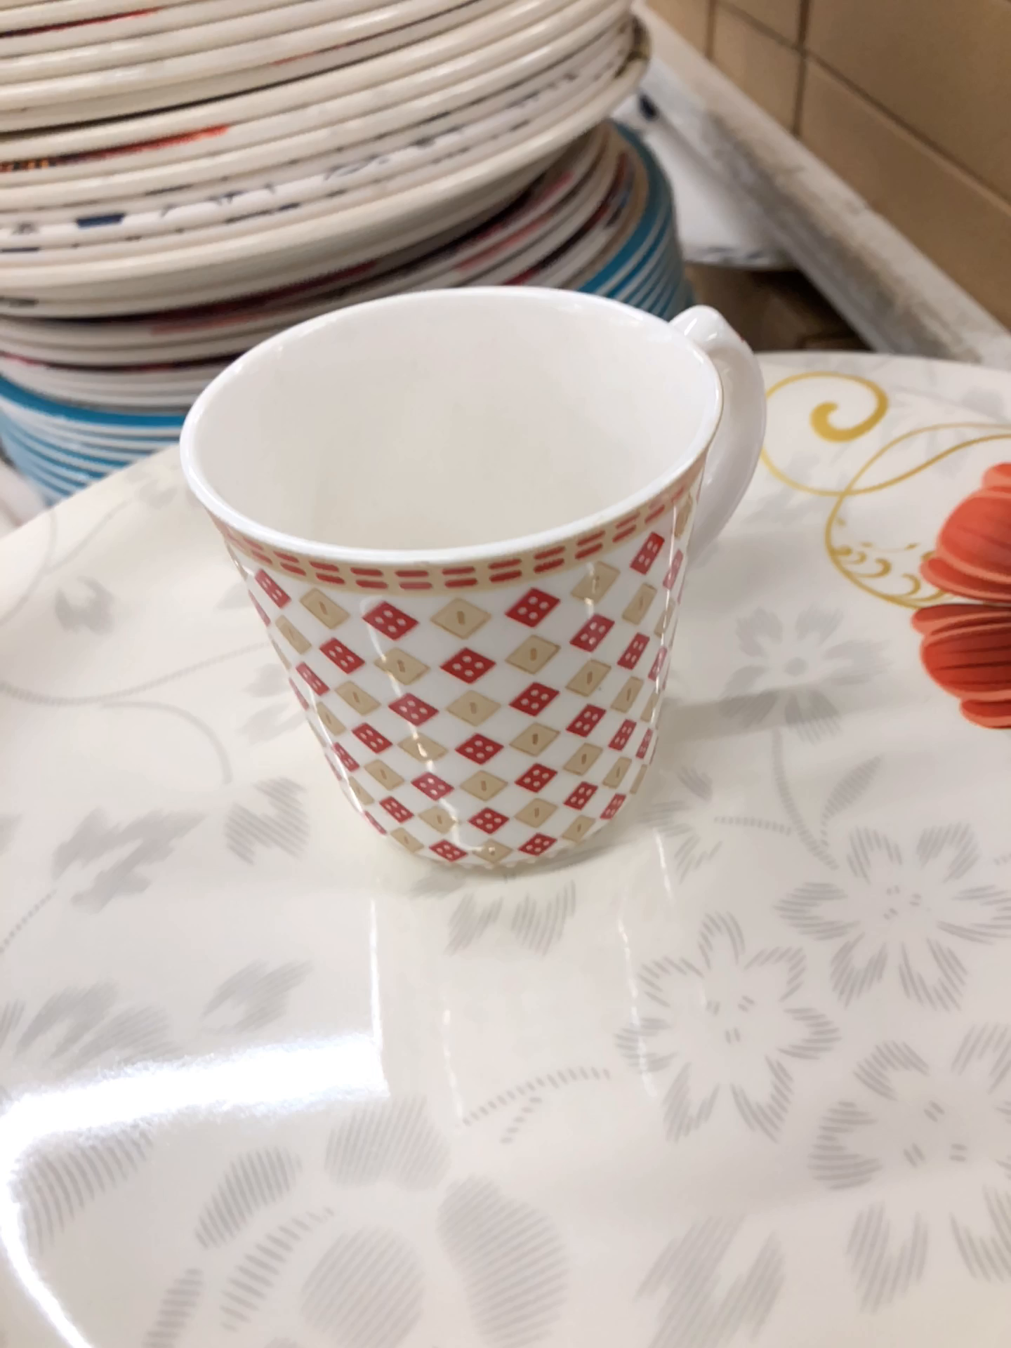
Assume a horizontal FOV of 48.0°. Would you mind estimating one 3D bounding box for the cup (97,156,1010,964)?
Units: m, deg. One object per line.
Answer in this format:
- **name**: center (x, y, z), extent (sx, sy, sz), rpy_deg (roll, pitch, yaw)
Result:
- **cup**: center (0.008, -0.027, 0.205), extent (0.120, 0.079, 0.080), rpy_deg (-23, 45, -18)
